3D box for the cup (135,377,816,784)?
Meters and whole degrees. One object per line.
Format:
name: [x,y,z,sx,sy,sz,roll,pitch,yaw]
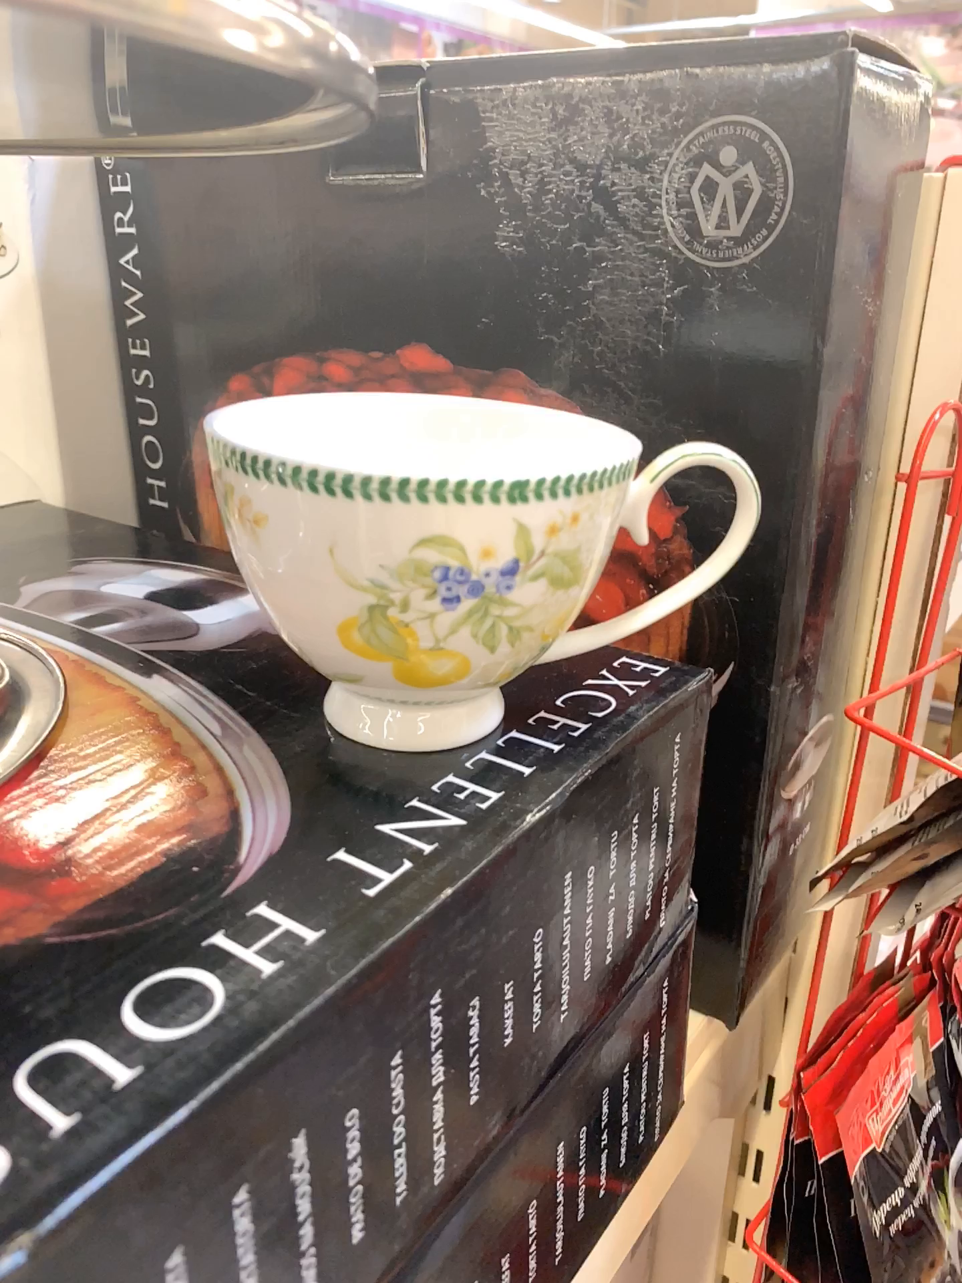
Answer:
cup: [-0.002,-0.022,0.249,0.130,0.070,0.100,1,22,-1]
